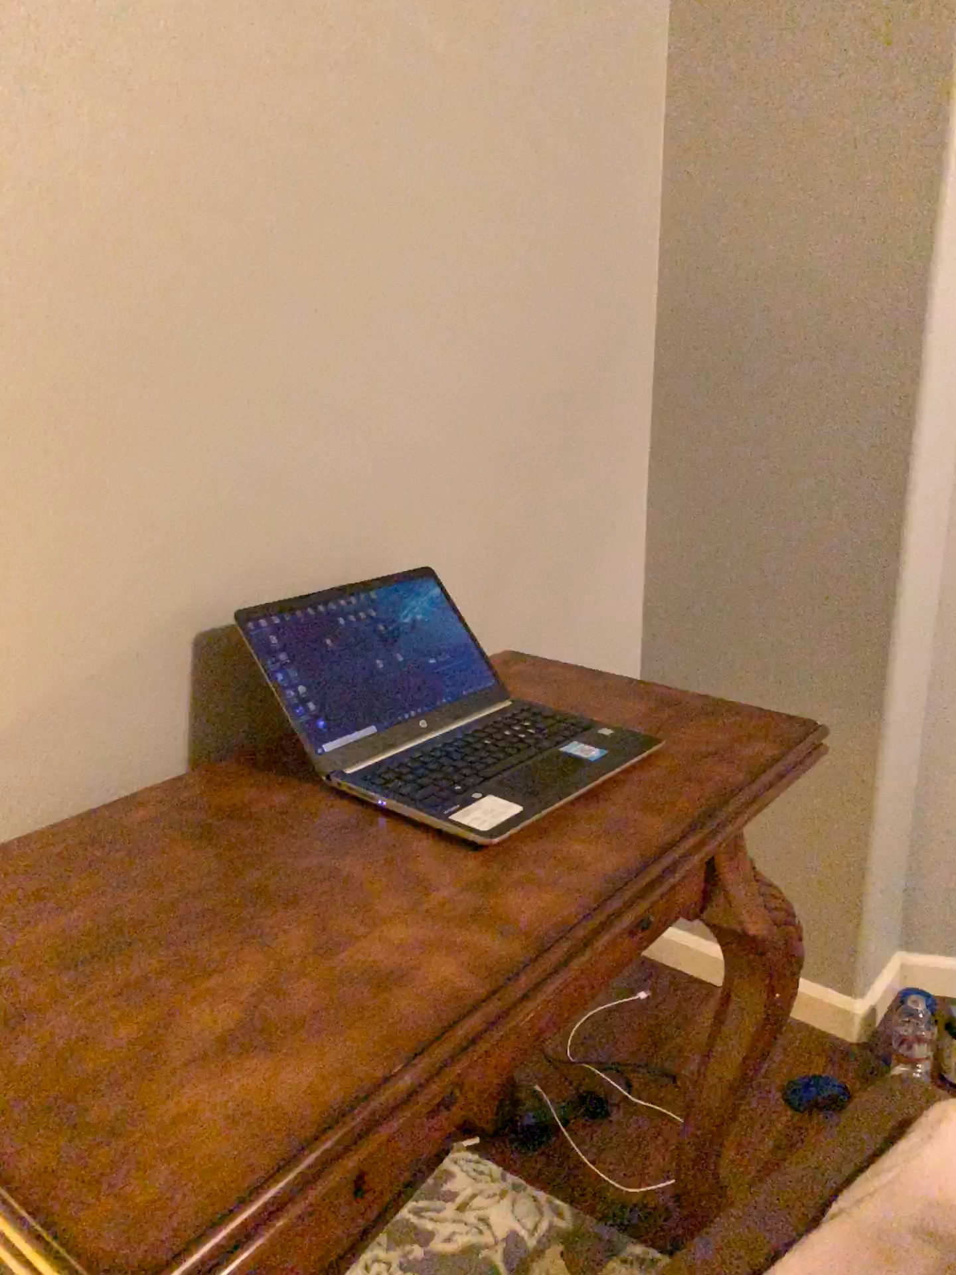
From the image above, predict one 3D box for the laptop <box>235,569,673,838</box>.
[{"bbox_3d":[-0.025,0.046,1.112,0.368,0.152,0.318,13,20,38],"label":"laptop"}]
